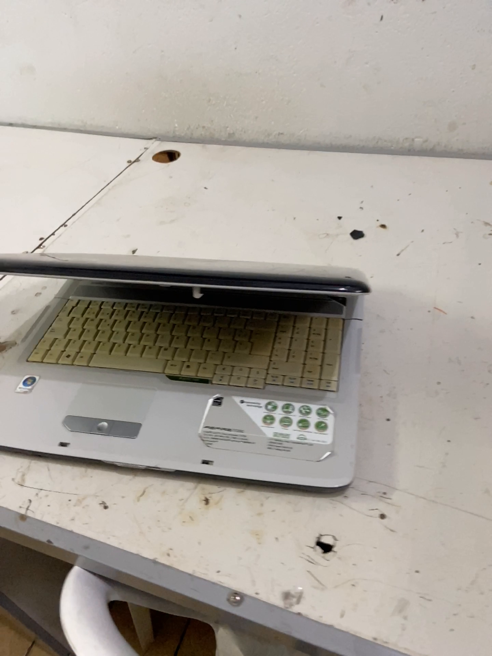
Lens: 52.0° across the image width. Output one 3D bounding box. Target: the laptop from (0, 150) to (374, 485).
[{"bbox_3d":[-0.079,-0.034,0.508,0.380,0.164,0.279,4,44,13],"label":"laptop"}]
